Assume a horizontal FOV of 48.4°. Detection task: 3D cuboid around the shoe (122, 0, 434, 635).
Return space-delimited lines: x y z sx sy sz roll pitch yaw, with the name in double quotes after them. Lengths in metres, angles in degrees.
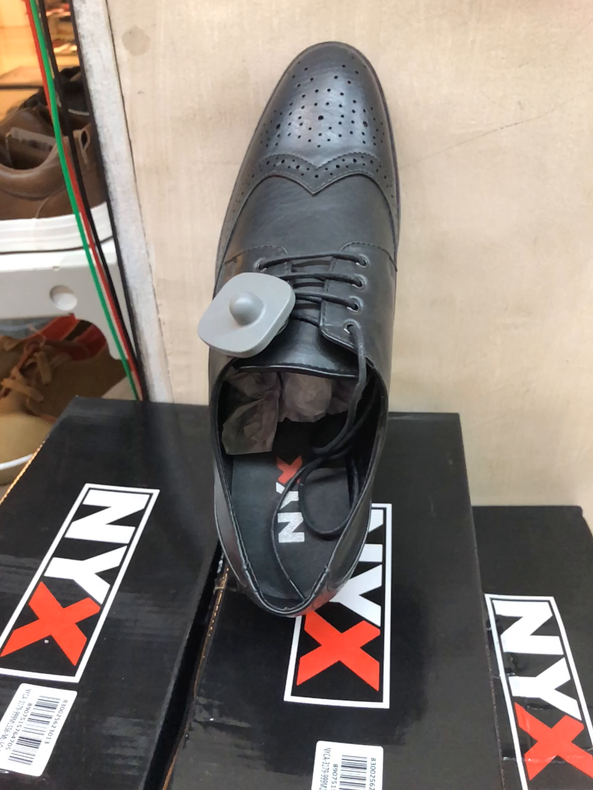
-0.001 -0.053 0.327 0.106 0.297 0.106 4 -7 4 "shoe"
